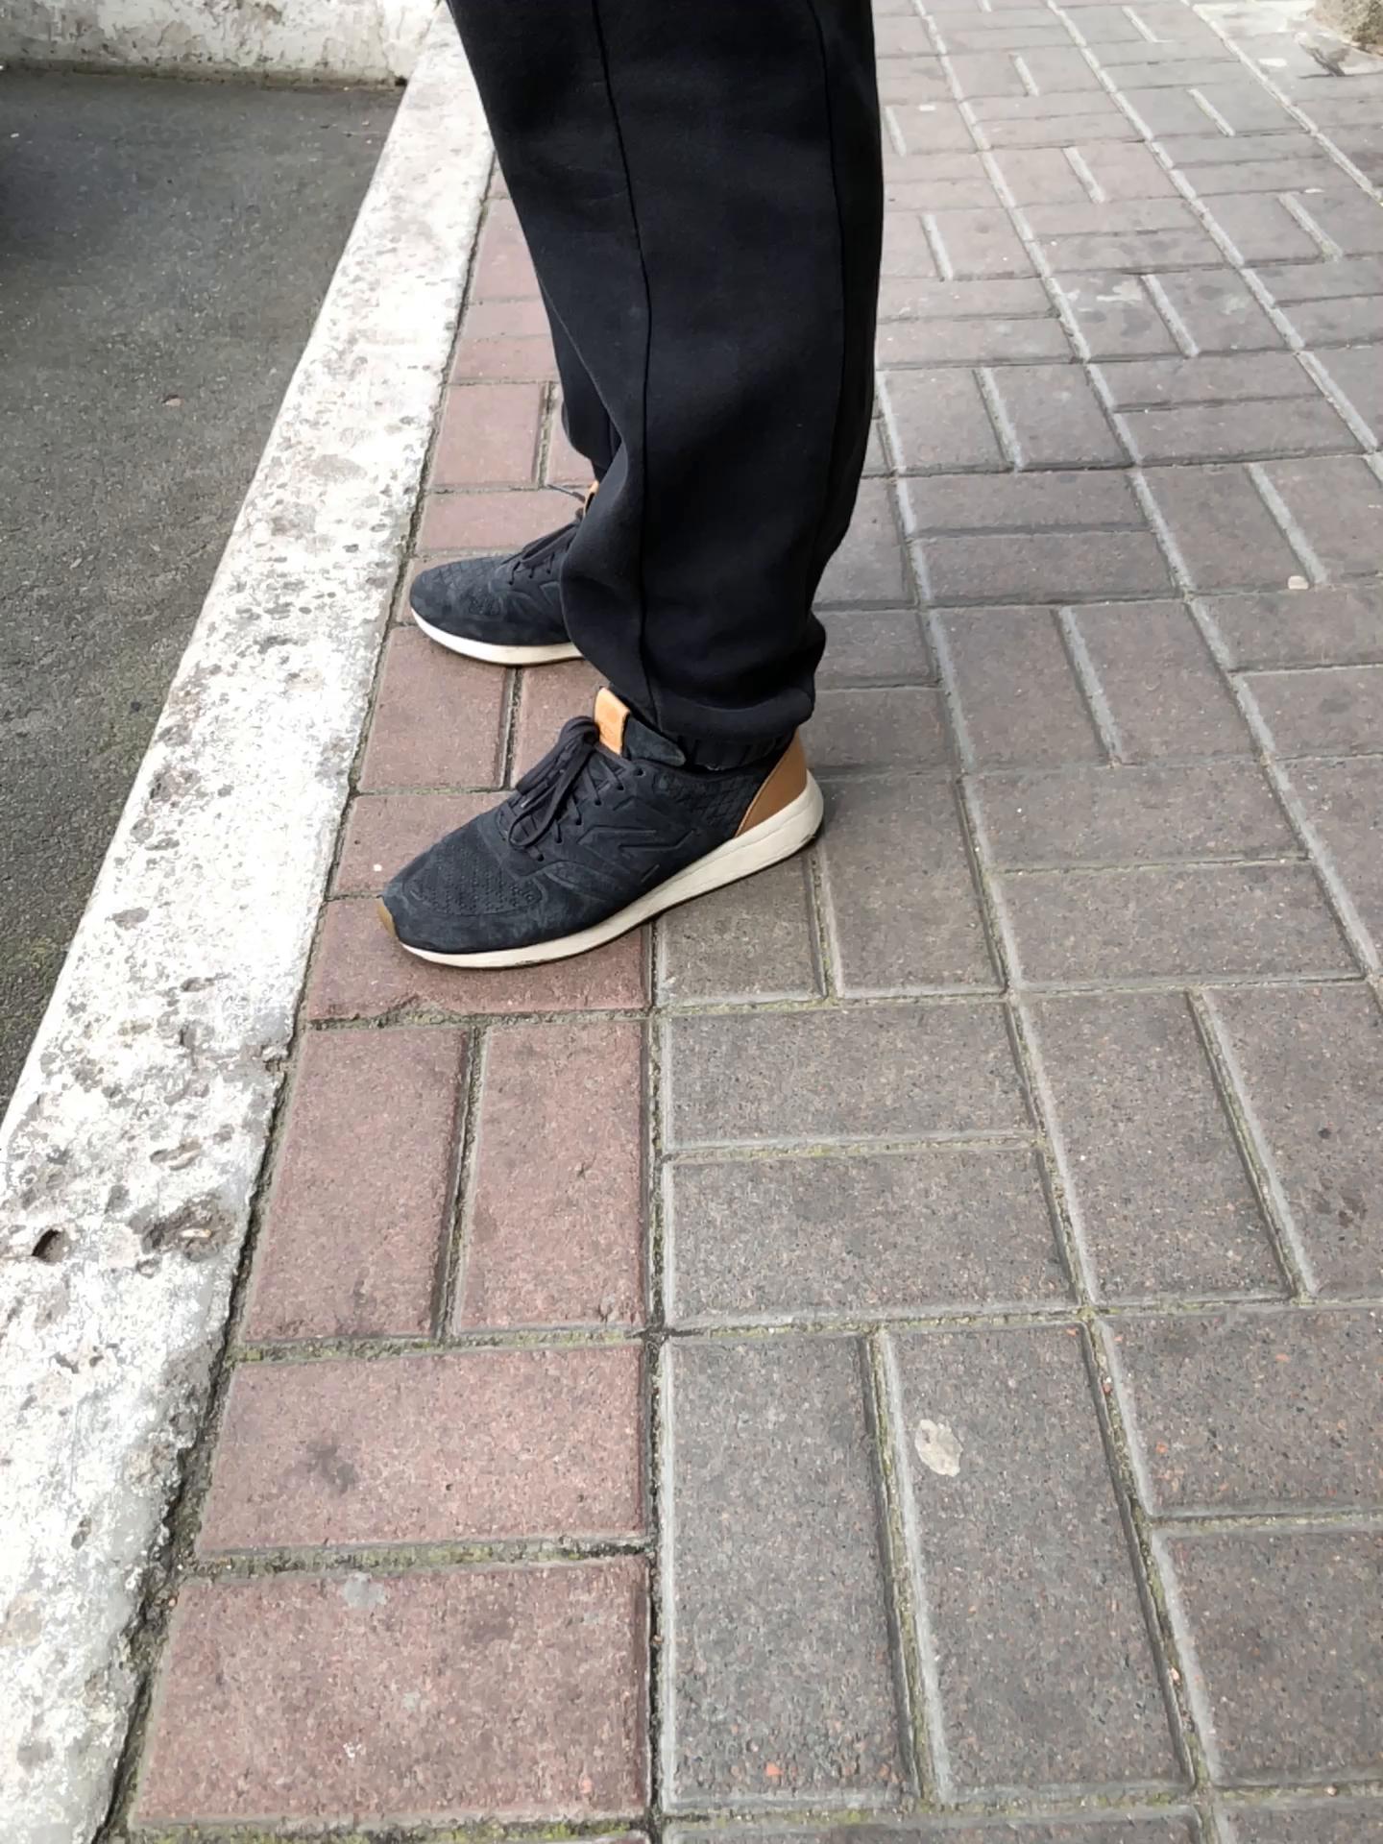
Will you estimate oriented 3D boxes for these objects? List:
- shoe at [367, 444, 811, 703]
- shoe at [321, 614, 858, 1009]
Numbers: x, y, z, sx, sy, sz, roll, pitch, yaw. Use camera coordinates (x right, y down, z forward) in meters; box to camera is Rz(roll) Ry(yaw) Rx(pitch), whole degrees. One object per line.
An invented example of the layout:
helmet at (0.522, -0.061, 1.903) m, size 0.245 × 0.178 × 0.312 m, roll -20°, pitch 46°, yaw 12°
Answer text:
shoe at (-0.066, -0.245, 1.054) m, size 0.280 × 0.109 × 0.105 m, roll 9°, pitch 44°, yaw 10°
shoe at (-0.054, -0.069, 0.877) m, size 0.280 × 0.109 × 0.105 m, roll -20°, pitch 47°, yaw -19°
